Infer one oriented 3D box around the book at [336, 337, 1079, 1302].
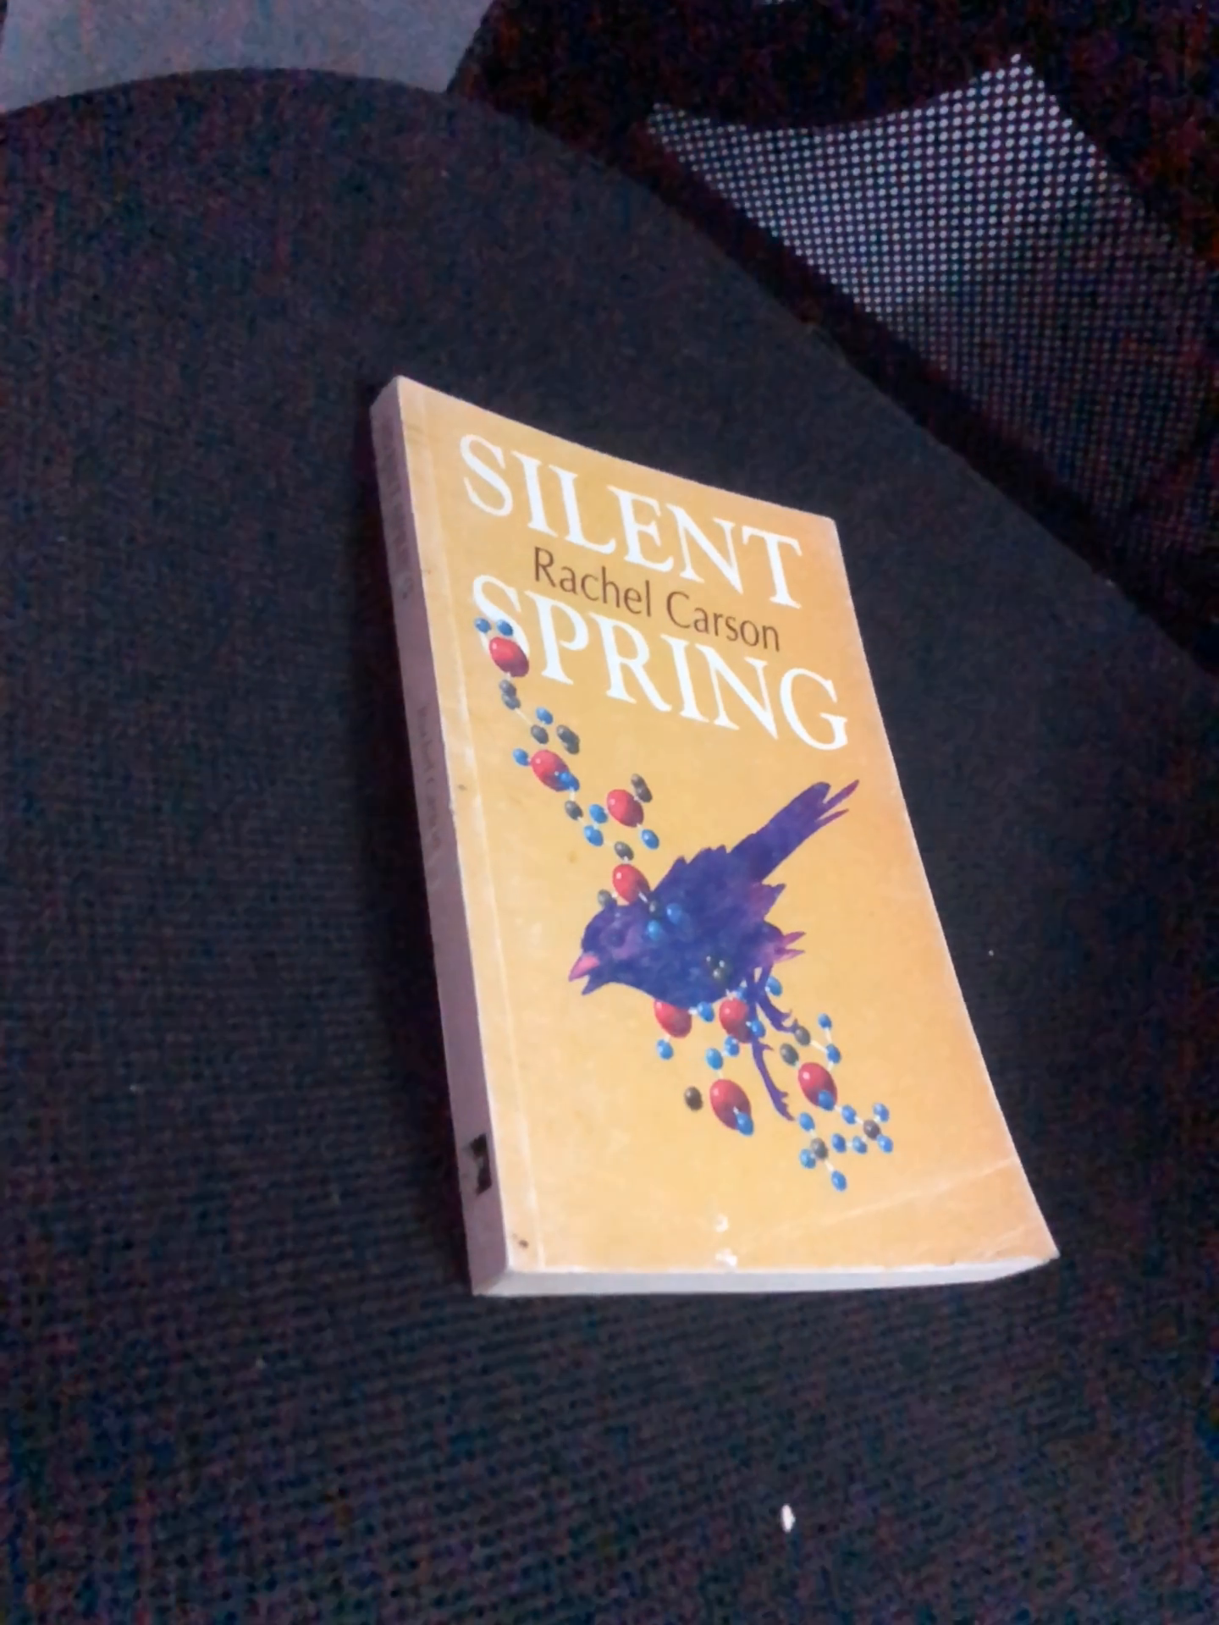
[{"bbox_3d":[0.017,-0.004,0.326,0.151,0.030,0.220,9,56,-31],"label":"book"}]
